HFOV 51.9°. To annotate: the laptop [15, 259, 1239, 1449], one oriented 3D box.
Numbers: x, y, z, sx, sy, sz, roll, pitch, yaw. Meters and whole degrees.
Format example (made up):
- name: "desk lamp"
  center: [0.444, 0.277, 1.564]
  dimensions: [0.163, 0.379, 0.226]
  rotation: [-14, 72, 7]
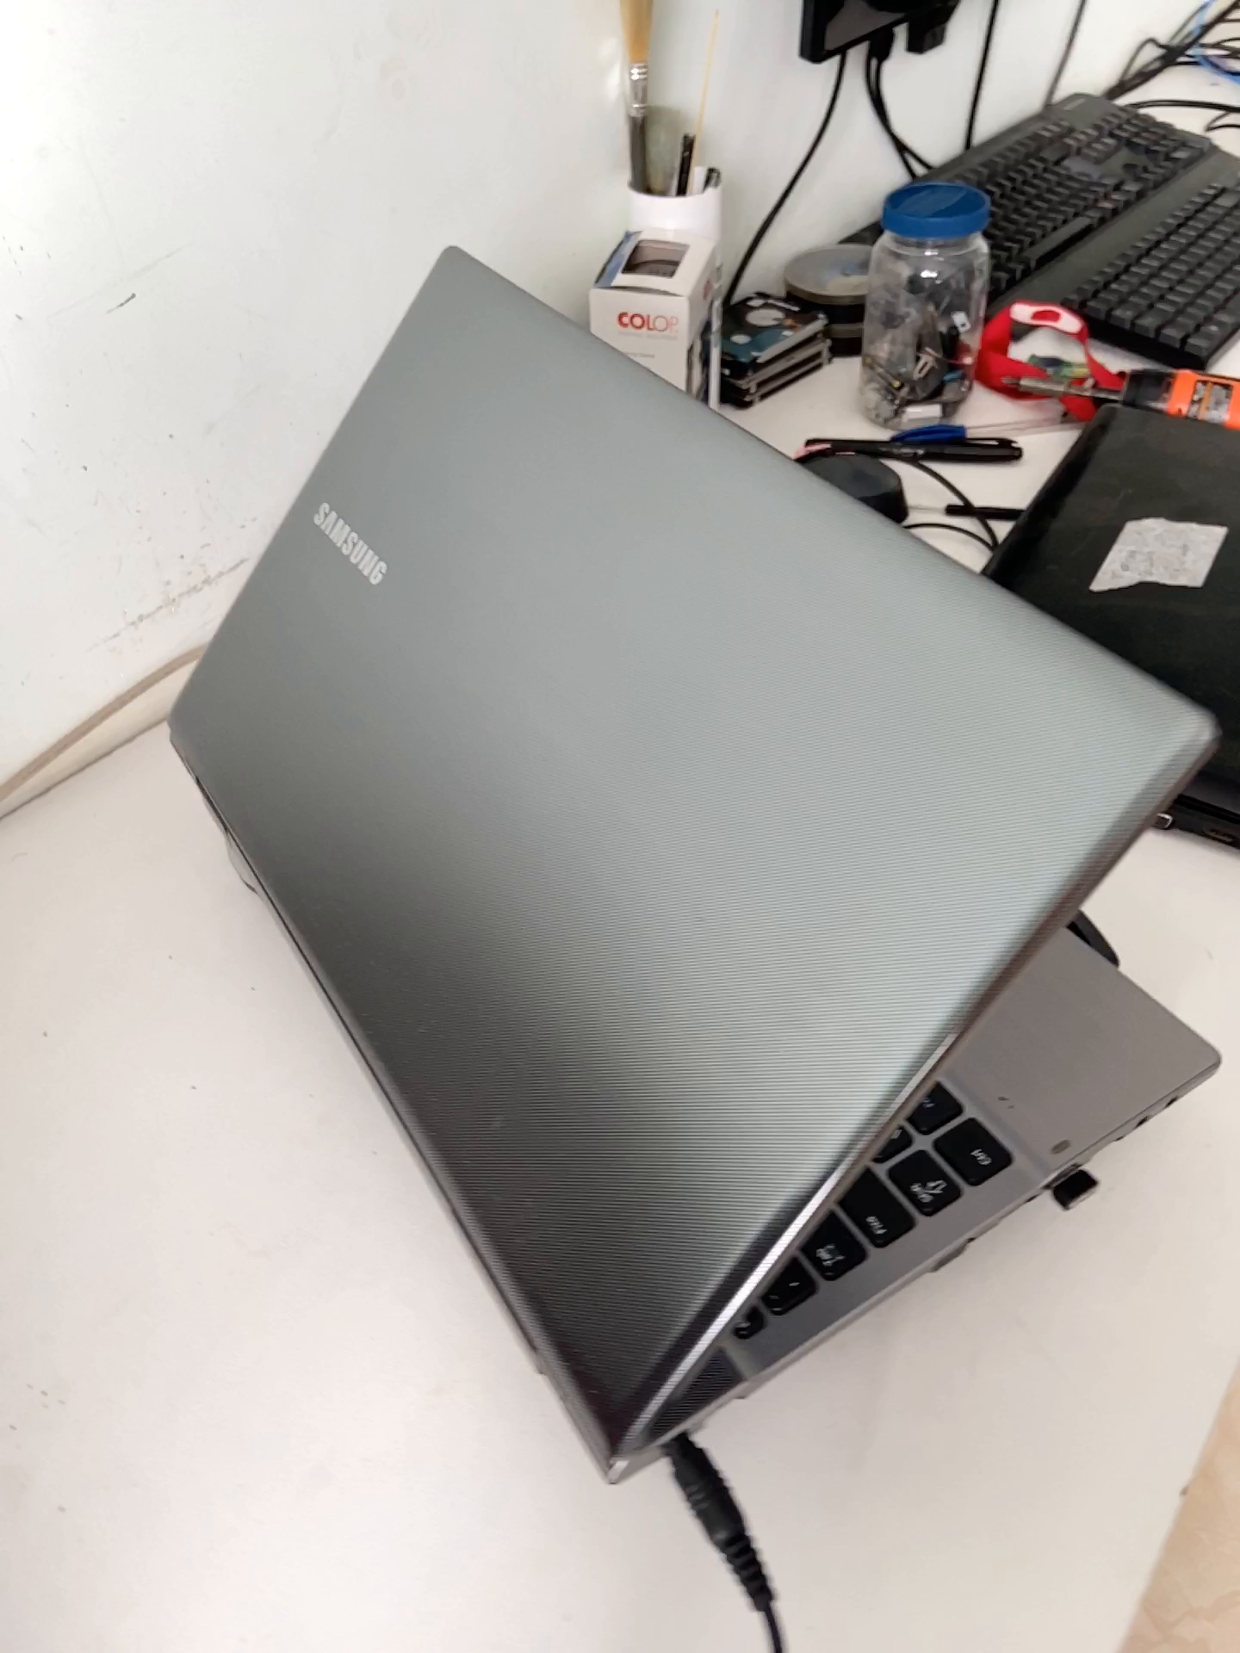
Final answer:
- name: "laptop"
  center: [-0.011, -0.041, 0.432]
  dimensions: [0.231, 0.164, 0.360]
  rotation: [-24, 46, -24]
